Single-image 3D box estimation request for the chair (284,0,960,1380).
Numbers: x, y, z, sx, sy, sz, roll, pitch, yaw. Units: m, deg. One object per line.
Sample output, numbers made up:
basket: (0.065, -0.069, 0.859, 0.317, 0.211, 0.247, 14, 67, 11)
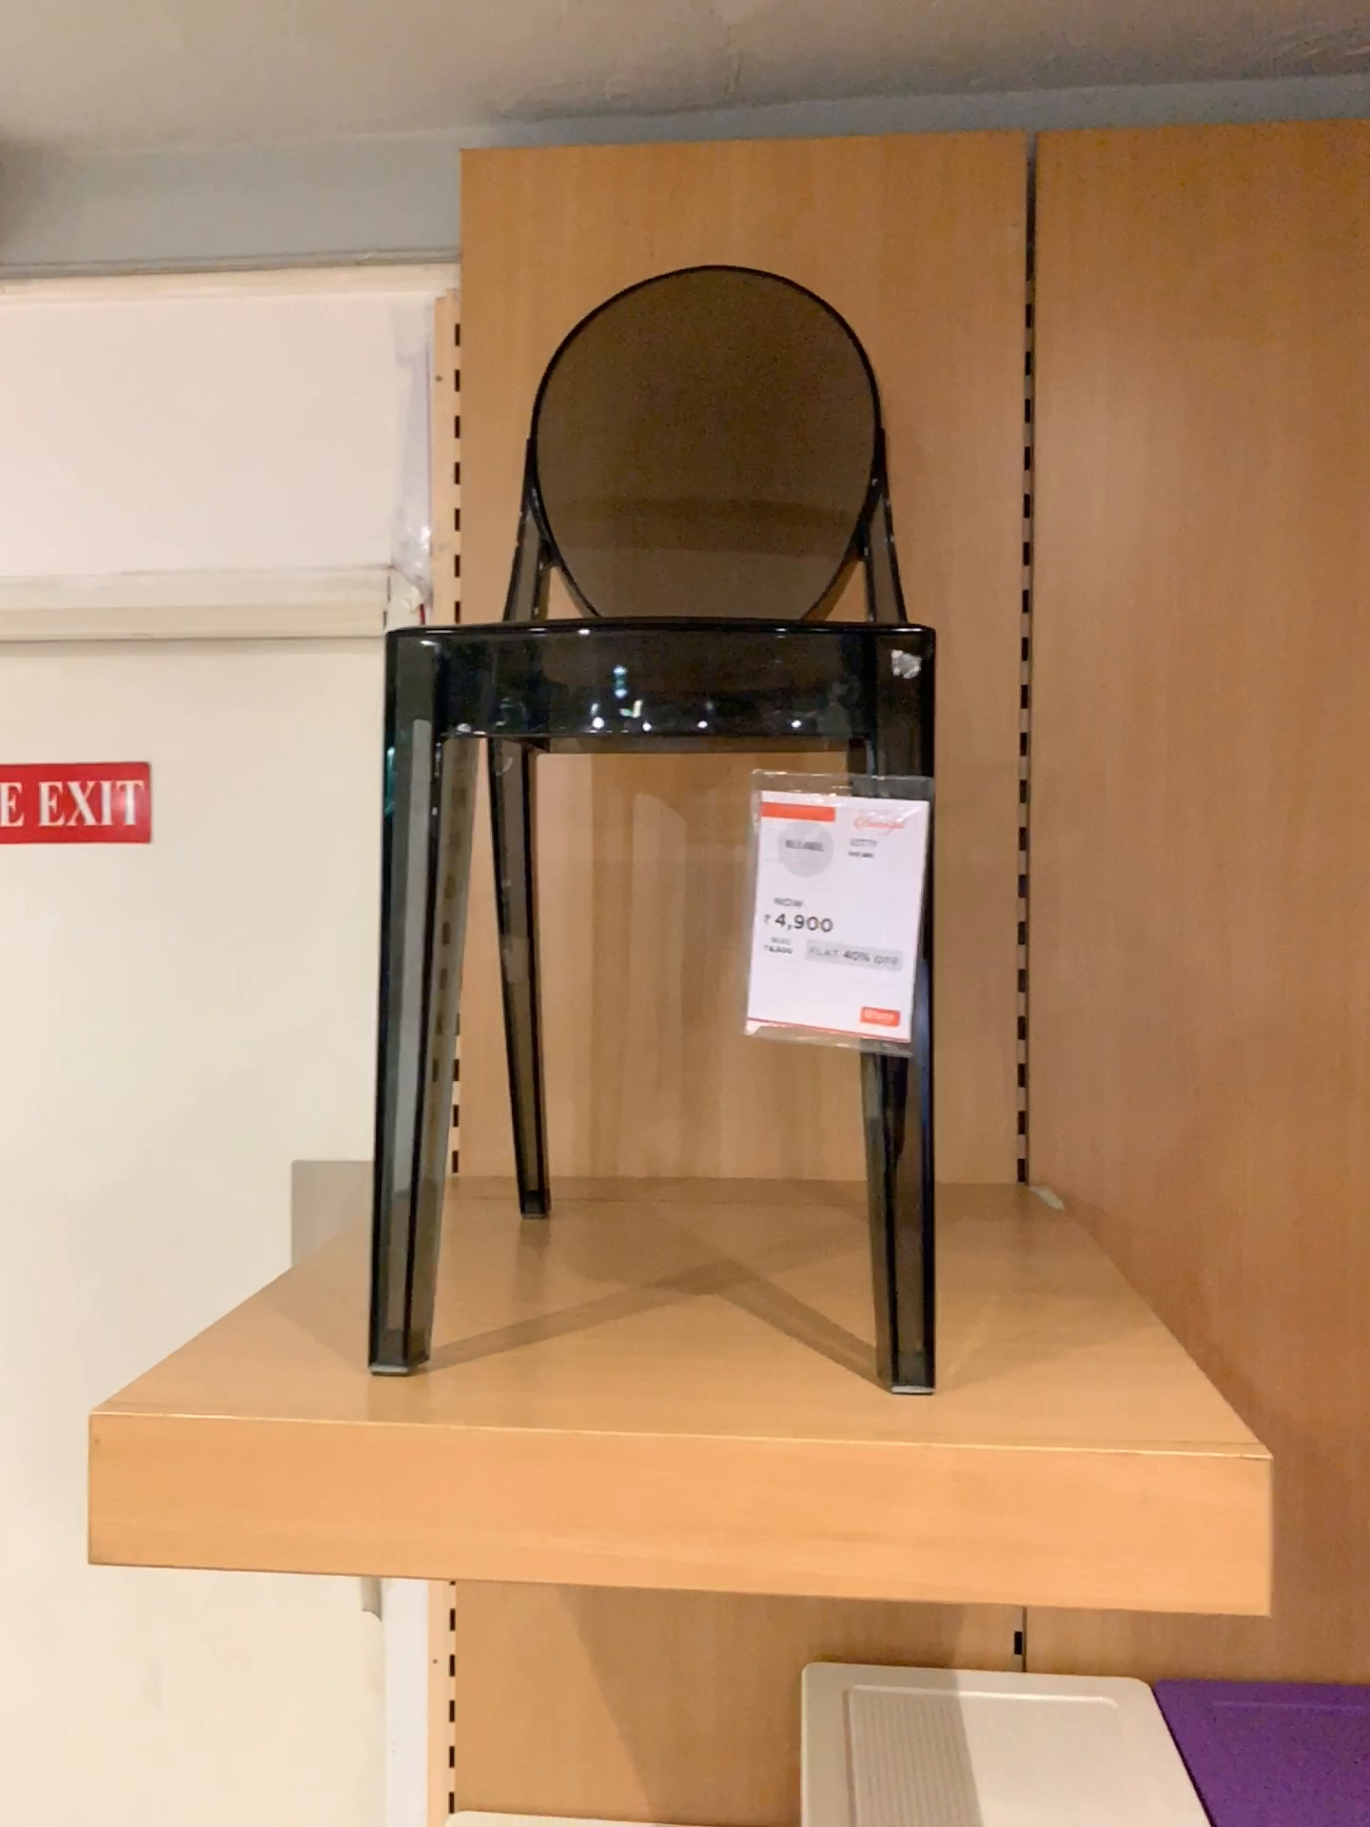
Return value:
chair: (-0.025, -0.158, 1.062, 0.400, 0.850, 0.470, 0, 0, 4)
